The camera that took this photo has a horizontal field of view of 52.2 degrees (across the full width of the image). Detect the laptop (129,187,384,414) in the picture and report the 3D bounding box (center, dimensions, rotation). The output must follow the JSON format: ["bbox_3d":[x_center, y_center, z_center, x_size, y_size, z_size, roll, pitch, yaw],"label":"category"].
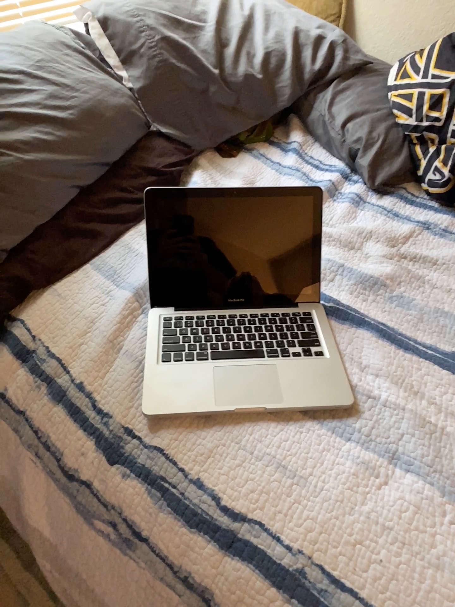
[{"bbox_3d":[0.021,-0.024,0.755,0.320,0.165,0.347,-2,45,-5],"label":"laptop"}]
